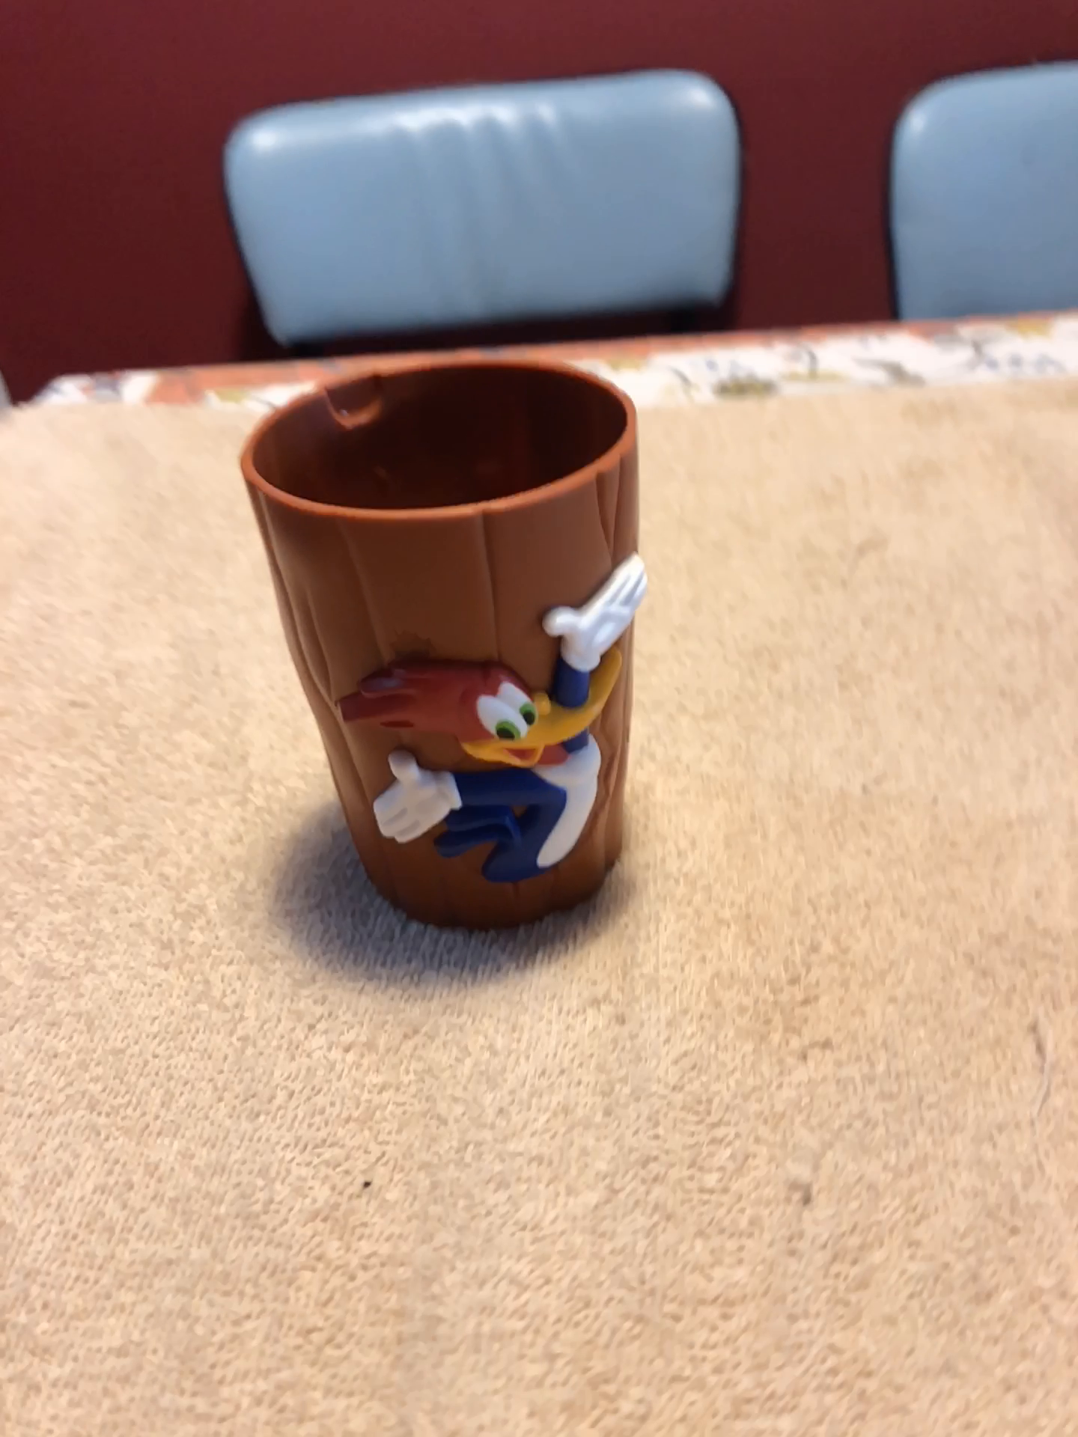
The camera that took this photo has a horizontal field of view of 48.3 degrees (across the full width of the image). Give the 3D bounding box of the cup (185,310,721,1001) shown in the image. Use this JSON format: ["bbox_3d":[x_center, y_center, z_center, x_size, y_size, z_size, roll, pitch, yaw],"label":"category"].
[{"bbox_3d":[-0.018,-0.019,0.273,0.080,0.109,0.091,-19,36,-18],"label":"cup"}]
